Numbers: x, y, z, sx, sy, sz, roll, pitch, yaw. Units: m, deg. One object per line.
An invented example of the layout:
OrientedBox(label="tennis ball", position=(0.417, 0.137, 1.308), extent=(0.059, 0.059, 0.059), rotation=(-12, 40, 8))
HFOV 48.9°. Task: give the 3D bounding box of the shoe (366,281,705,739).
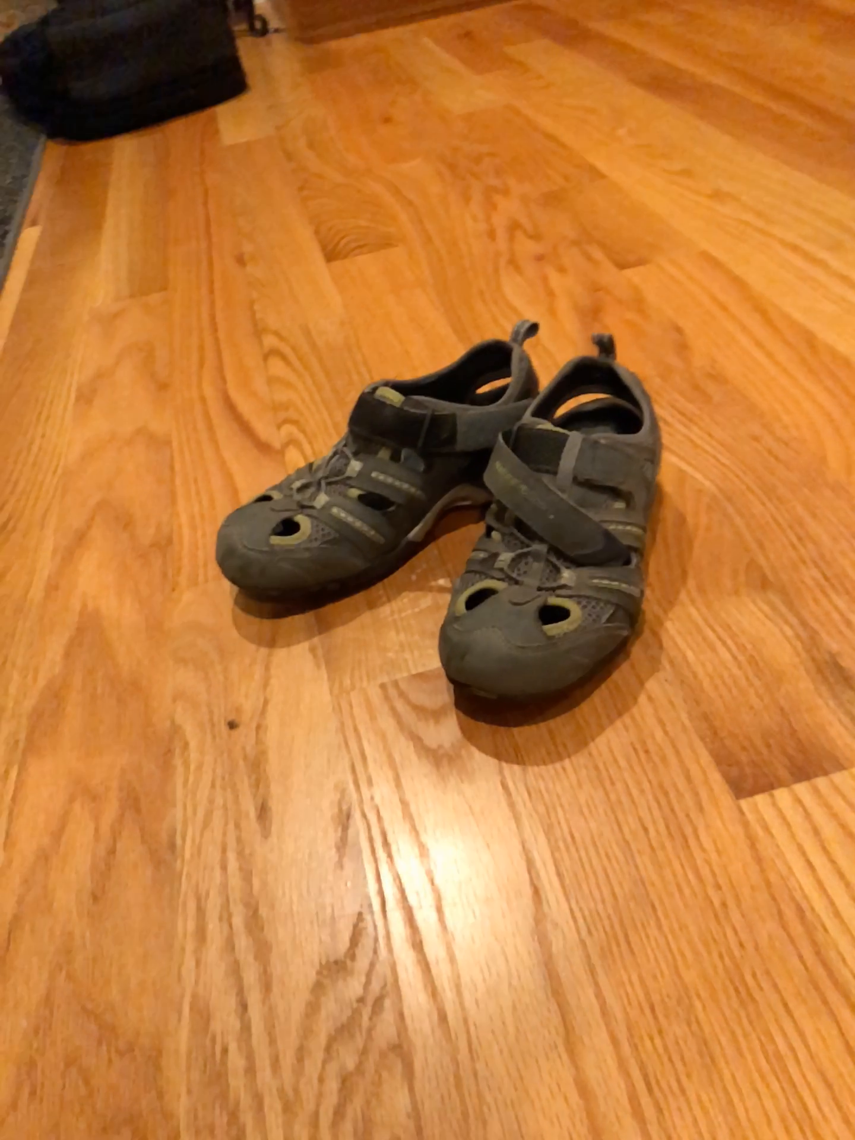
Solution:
OrientedBox(label="shoe", position=(0.074, -0.049, 0.504), extent=(0.100, 0.112, 0.246), rotation=(8, 42, 22))

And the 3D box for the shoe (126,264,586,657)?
OrientedBox(label="shoe", position=(-0.030, -0.076, 0.566), extent=(0.246, 0.112, 0.100), rotation=(-32, 43, -24))
